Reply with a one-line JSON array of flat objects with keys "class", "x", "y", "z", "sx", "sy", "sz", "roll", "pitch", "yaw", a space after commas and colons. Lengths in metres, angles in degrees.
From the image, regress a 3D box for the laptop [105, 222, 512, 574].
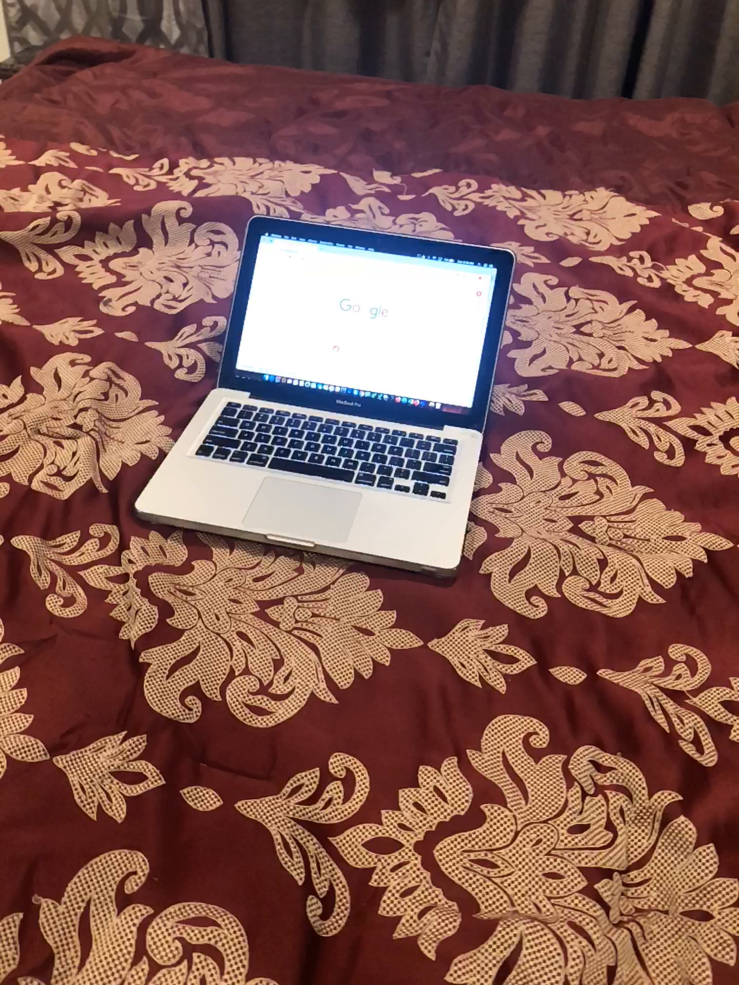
[{"class": "laptop", "x": -0.030, "y": -0.114, "z": 0.795, "sx": 0.292, "sy": 0.133, "sz": 0.344, "roll": 10, "pitch": 41, "yaw": 8}]
